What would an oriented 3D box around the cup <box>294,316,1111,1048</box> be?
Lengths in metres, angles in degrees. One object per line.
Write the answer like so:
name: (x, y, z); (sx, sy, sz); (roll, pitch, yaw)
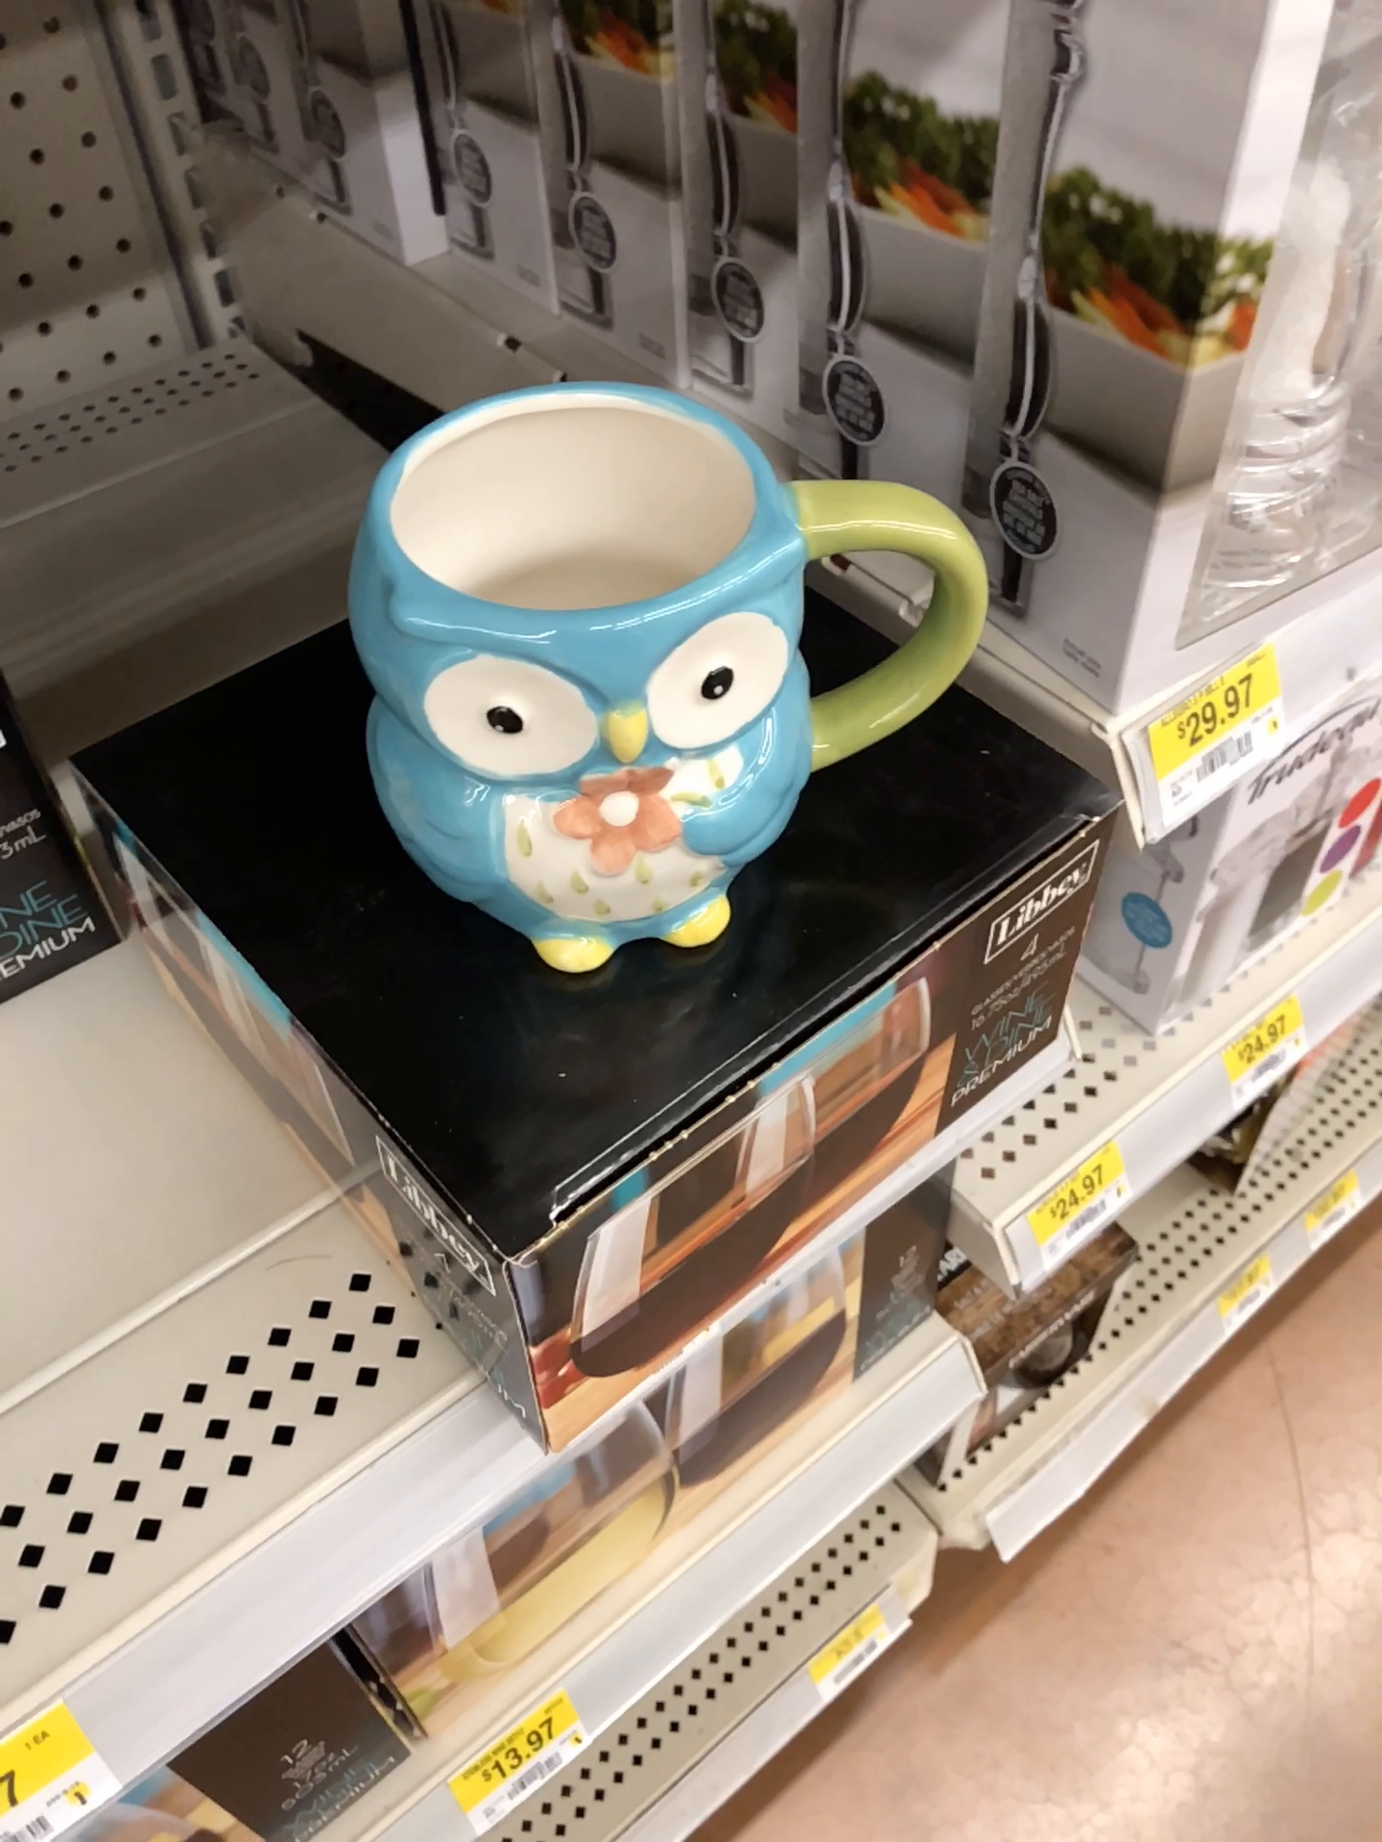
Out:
cup: (0.000, -0.049, 0.332); (0.140, 0.110, 0.090); (-7, 49, -2)
